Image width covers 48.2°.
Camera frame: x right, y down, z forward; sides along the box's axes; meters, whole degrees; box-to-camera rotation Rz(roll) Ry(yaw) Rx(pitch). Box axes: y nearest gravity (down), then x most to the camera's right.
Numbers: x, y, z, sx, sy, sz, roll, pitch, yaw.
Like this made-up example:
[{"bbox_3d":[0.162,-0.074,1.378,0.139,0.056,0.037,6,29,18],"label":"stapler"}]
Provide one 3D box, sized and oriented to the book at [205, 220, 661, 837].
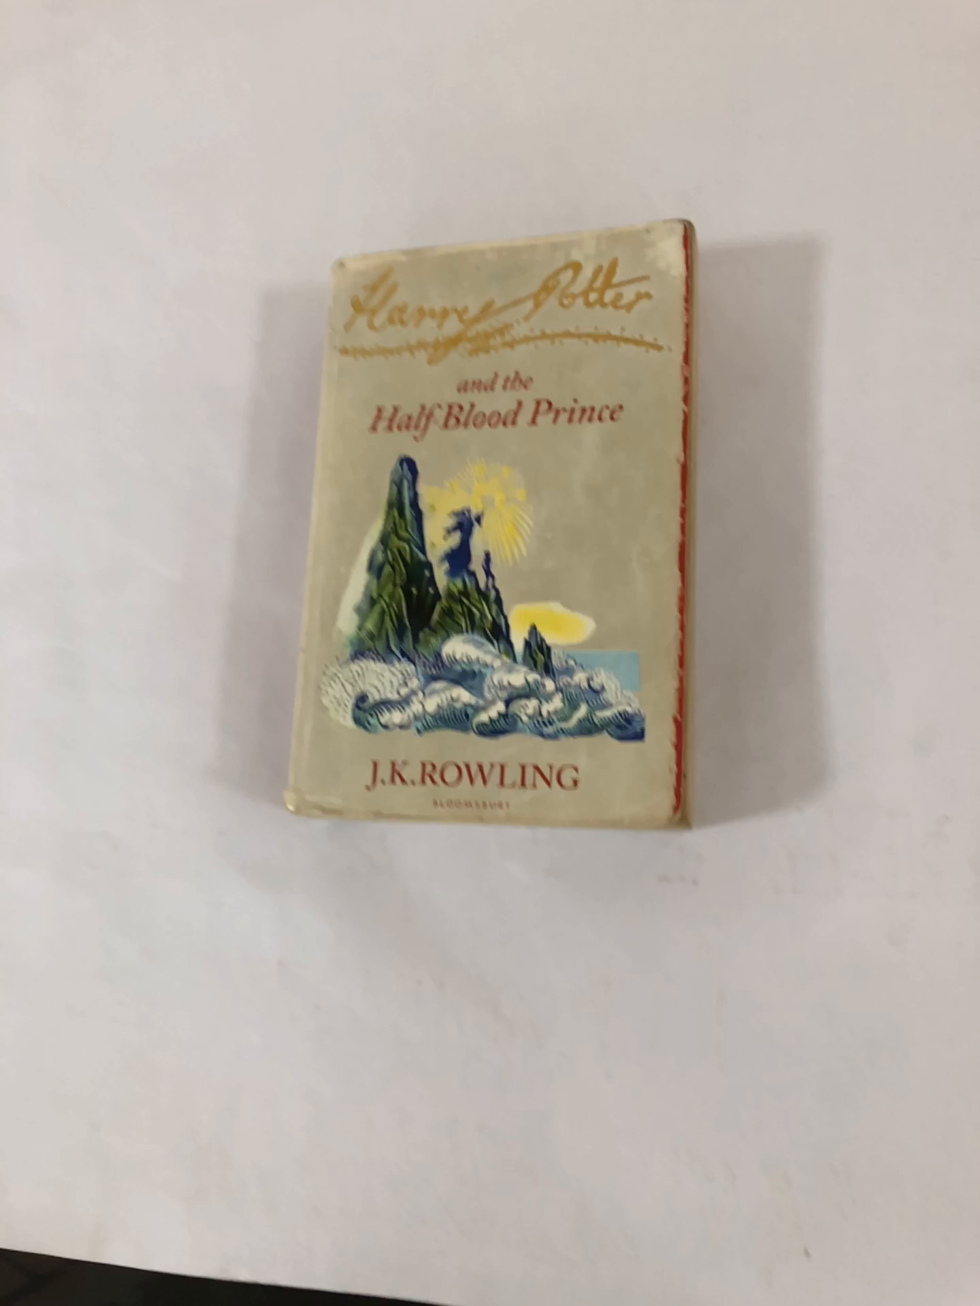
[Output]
[{"bbox_3d":[-0.013,-0.036,0.352,0.129,0.050,0.181,-1,79,14],"label":"book"}]
